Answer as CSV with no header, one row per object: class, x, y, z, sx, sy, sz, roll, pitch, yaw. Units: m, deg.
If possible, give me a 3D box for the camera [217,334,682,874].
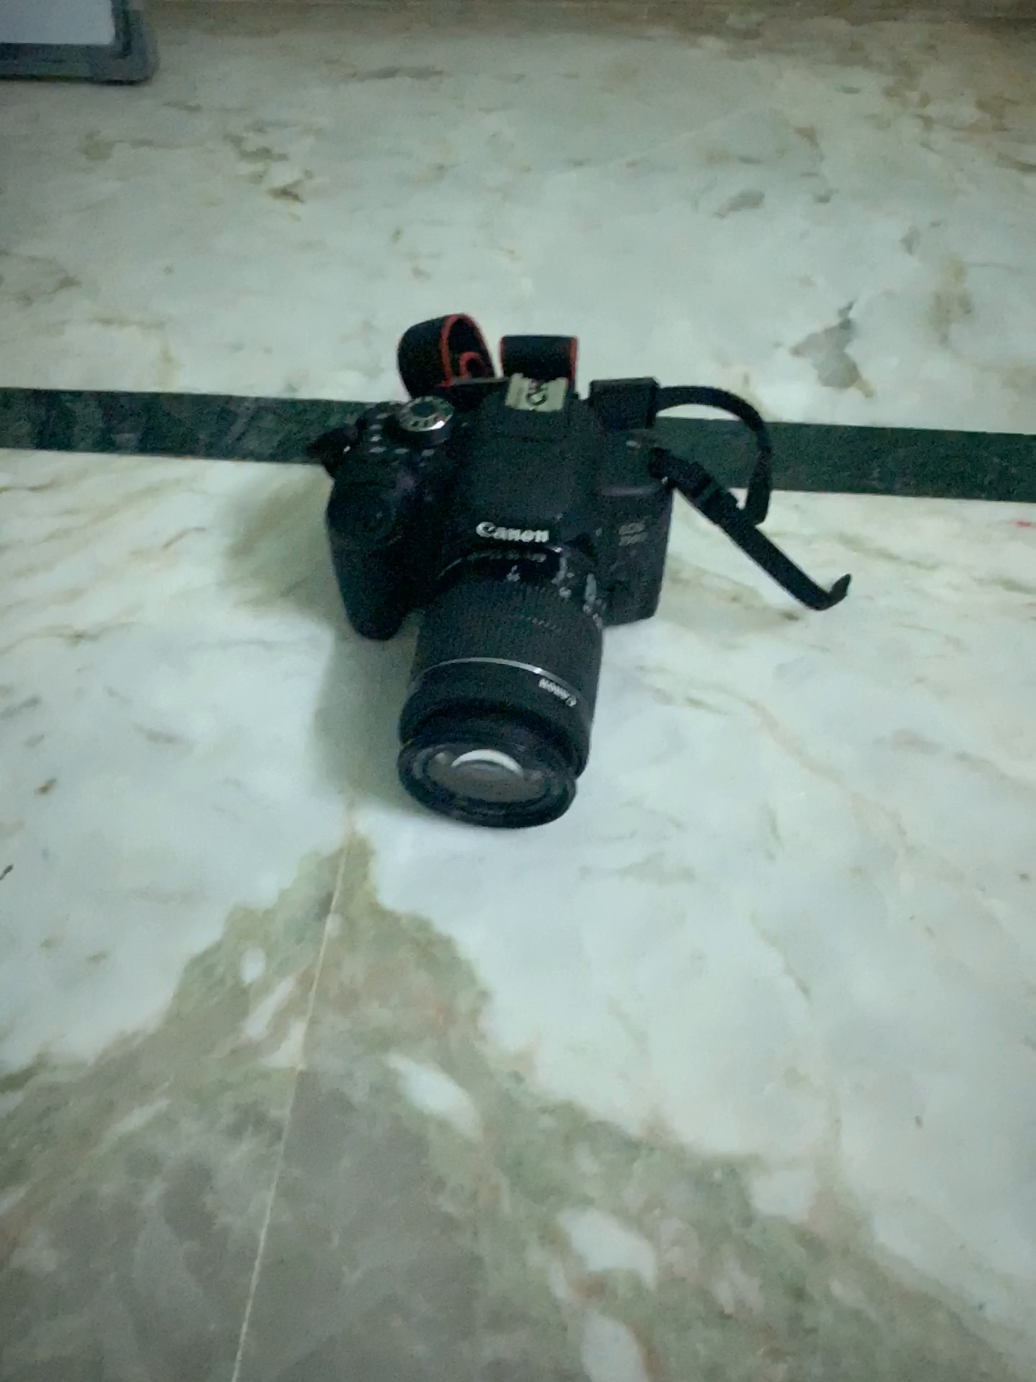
camera,-0.012,-0.035,0.390,0.128,0.100,0.160,5,53,5
